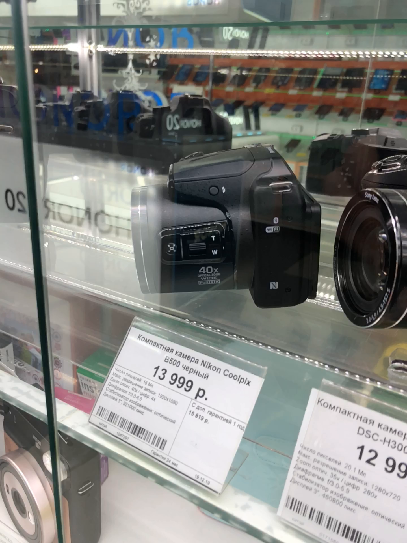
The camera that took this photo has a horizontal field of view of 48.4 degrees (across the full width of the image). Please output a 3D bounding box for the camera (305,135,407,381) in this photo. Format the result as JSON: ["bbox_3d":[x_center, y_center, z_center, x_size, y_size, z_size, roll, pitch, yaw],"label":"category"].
[{"bbox_3d":[0.117,-0.019,0.219,0.098,0.084,0.115,-2,19,-5],"label":"camera"}]

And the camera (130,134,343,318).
[{"bbox_3d":[0.009,-0.034,0.270,0.098,0.080,0.110,0,21,-7],"label":"camera"}]
